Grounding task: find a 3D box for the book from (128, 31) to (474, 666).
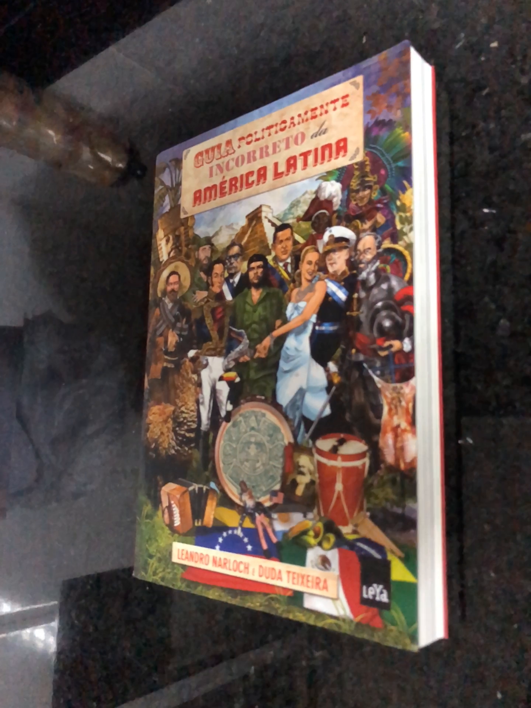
[{"bbox_3d":[0.007,-0.003,0.262,0.151,0.040,0.220,-6,78,39],"label":"book"}]
